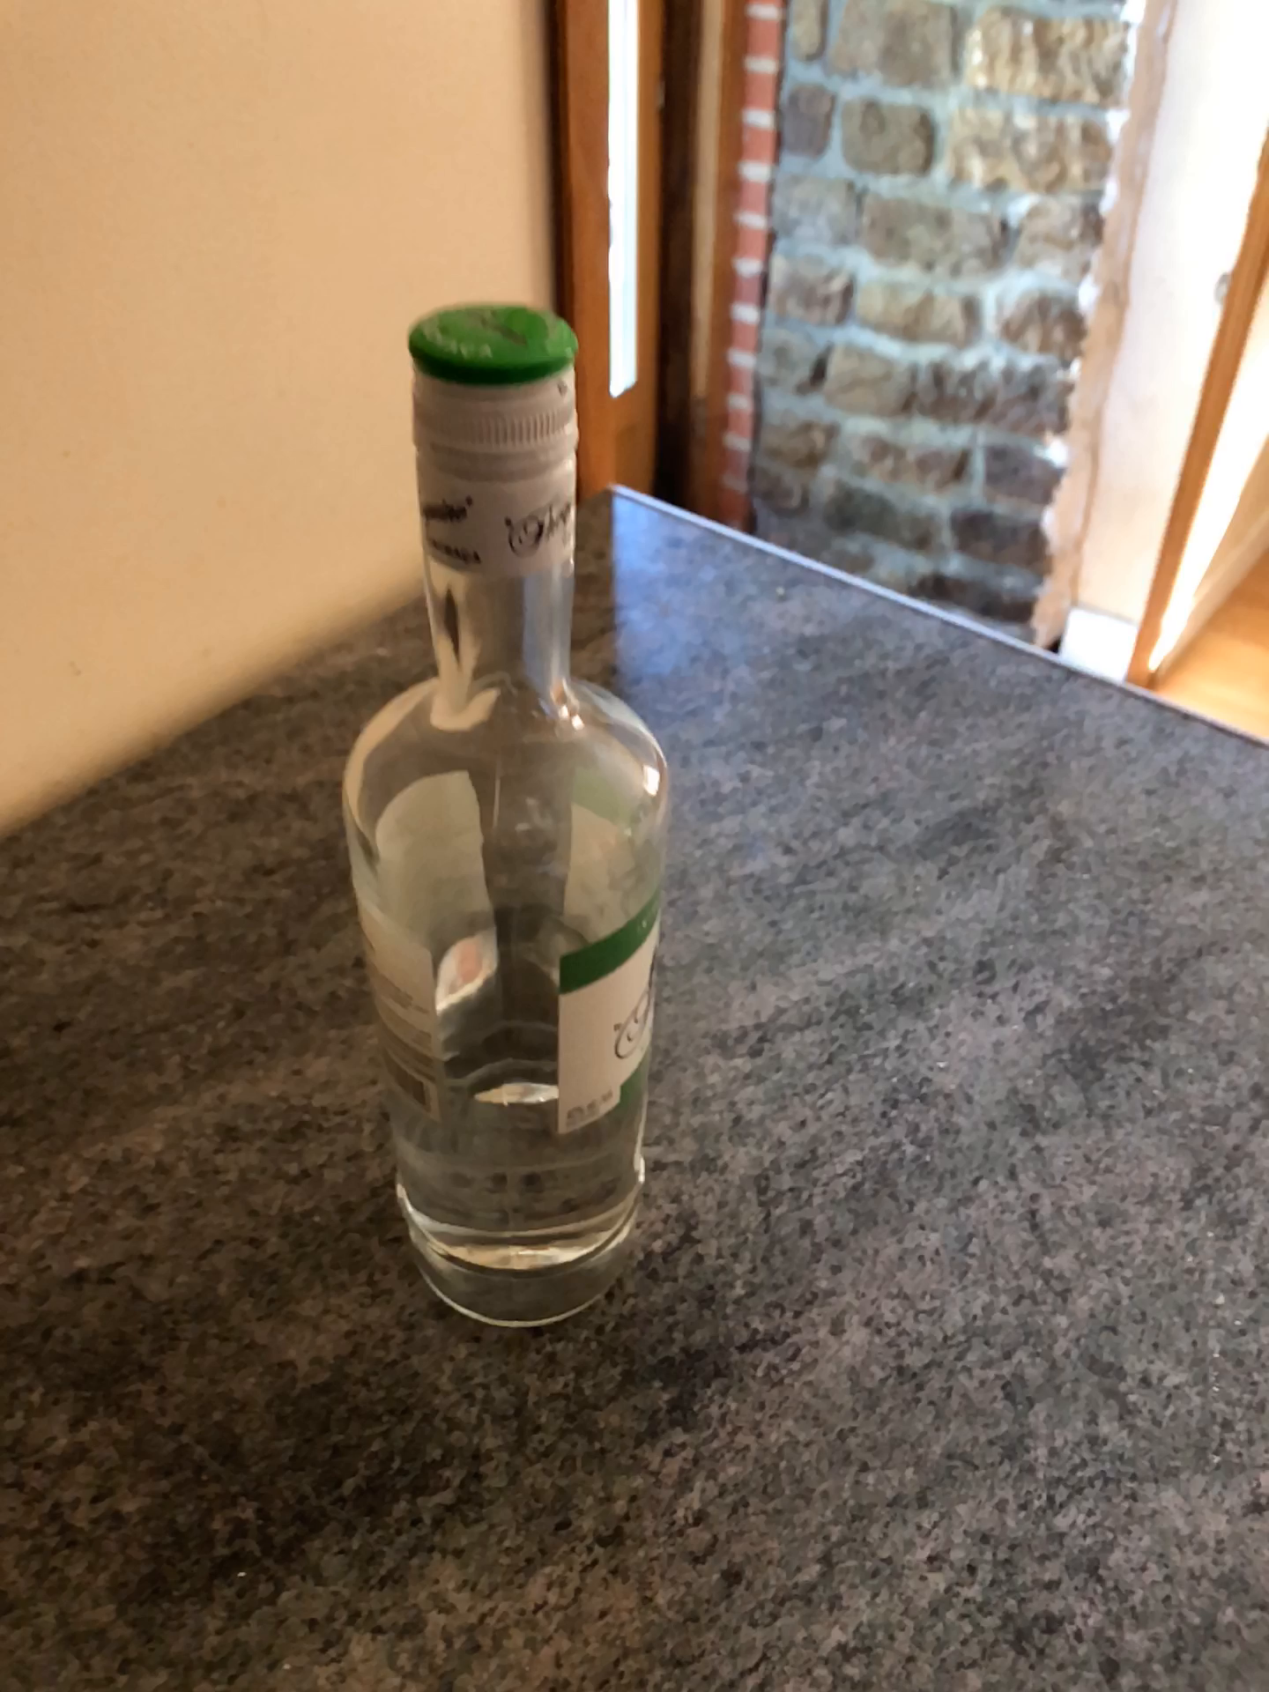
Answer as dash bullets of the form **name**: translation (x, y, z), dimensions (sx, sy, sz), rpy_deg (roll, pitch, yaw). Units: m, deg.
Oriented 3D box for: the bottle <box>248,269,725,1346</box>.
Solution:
- **bottle**: translation (-0.026, 0.012, 0.354), dimensions (0.080, 0.278, 0.081), rpy_deg (0, 39, 0)
